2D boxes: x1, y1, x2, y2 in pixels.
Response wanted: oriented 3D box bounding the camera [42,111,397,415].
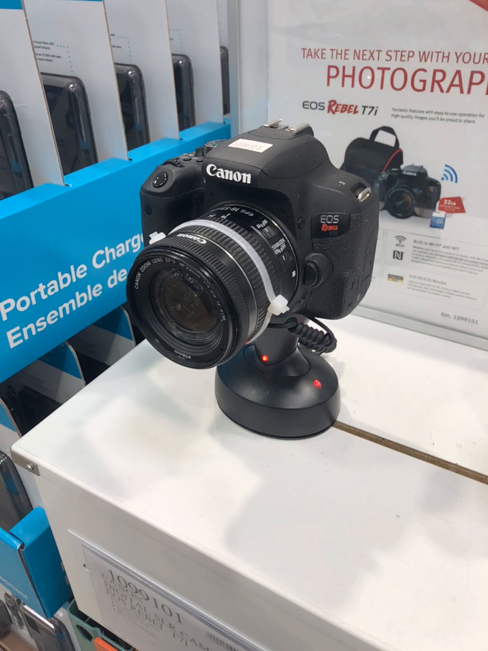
[{"bbox_3d":[-0.004,-0.052,0.317,0.130,0.100,0.150,17,37,25],"label":"camera"}]
